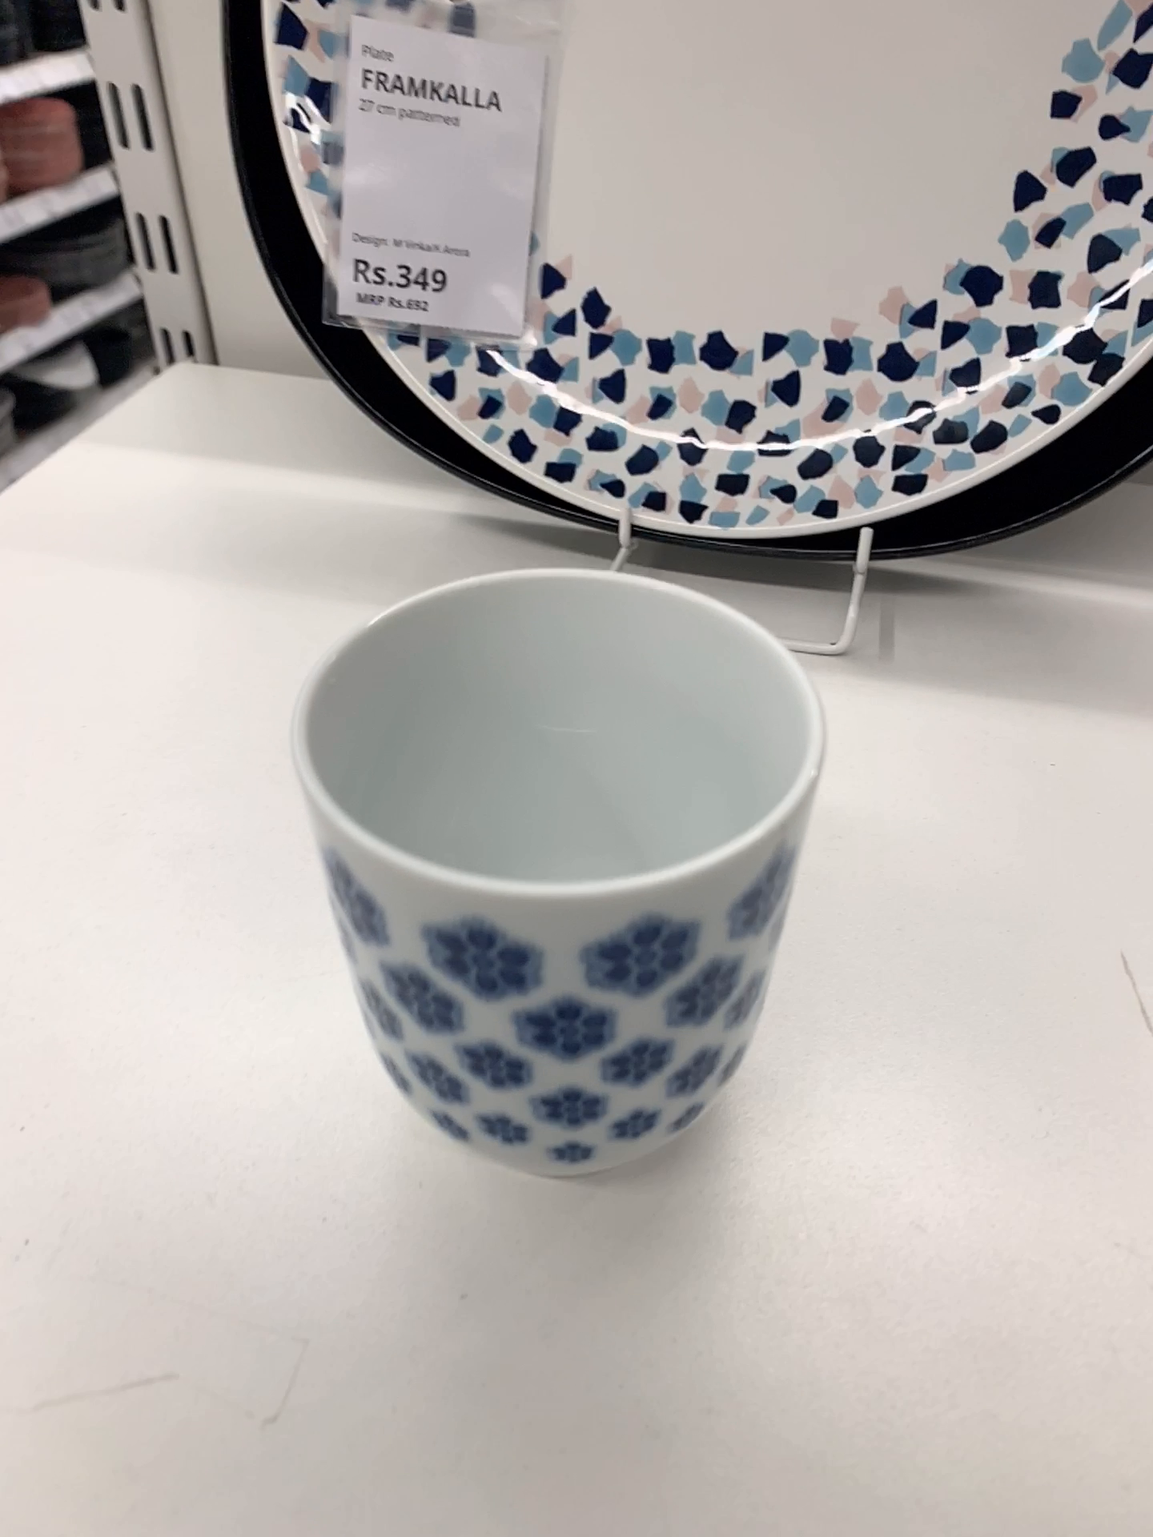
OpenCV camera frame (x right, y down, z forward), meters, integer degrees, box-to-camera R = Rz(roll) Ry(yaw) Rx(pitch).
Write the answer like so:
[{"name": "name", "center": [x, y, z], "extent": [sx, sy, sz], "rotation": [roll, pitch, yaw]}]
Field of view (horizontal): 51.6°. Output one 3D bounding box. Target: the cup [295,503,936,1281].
[{"name": "cup", "center": [-0.002, 0.016, 0.189], "extent": [0.070, 0.080, 0.080], "rotation": [-8, 39, -11]}]
